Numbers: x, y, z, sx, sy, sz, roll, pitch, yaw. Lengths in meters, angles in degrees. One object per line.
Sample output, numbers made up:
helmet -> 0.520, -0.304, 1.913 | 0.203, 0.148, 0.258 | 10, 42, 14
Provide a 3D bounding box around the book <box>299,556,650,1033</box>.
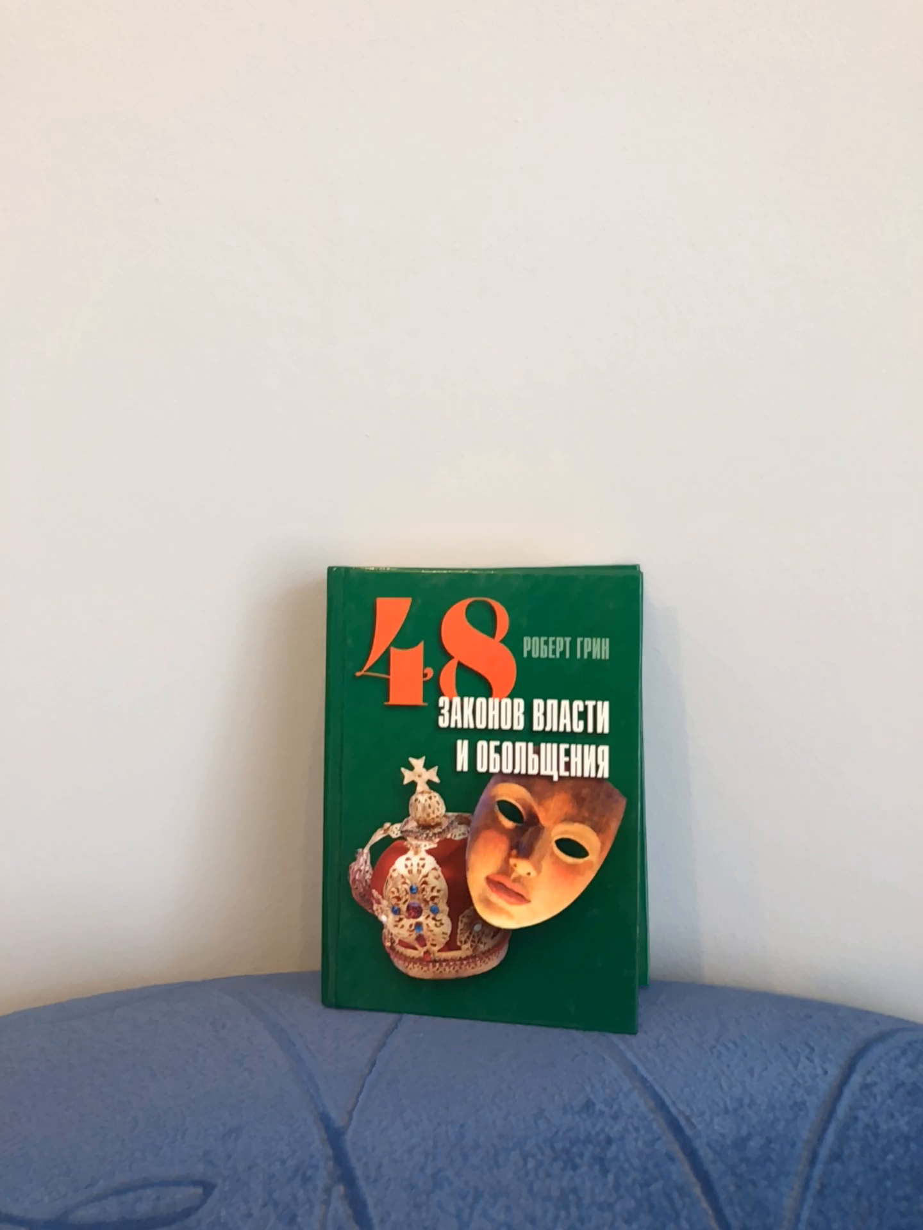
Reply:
book -> 0.006, 0.054, 0.341 | 0.106, 0.141, 0.050 | -1, -1, 15
